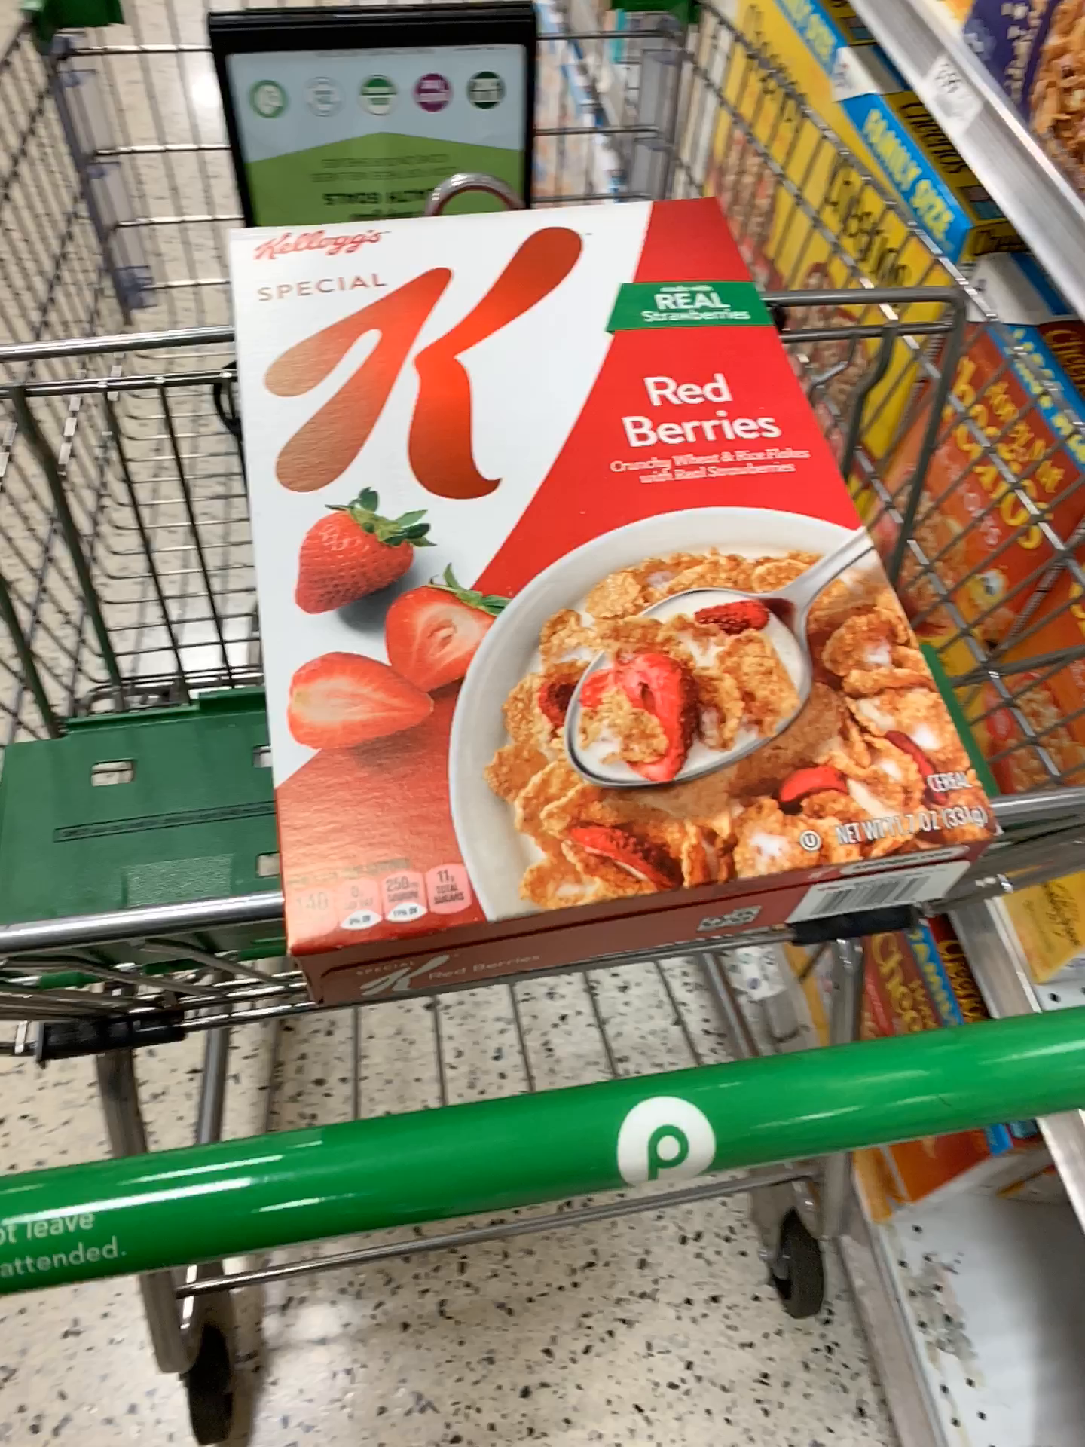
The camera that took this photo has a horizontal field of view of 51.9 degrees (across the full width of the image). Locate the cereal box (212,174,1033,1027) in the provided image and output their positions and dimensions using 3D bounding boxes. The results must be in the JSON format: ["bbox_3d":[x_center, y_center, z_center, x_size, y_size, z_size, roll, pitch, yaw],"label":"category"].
[{"bbox_3d":[0.003,-0.066,0.381,0.200,0.060,0.292,-8,60,-9],"label":"cereal box"}]
